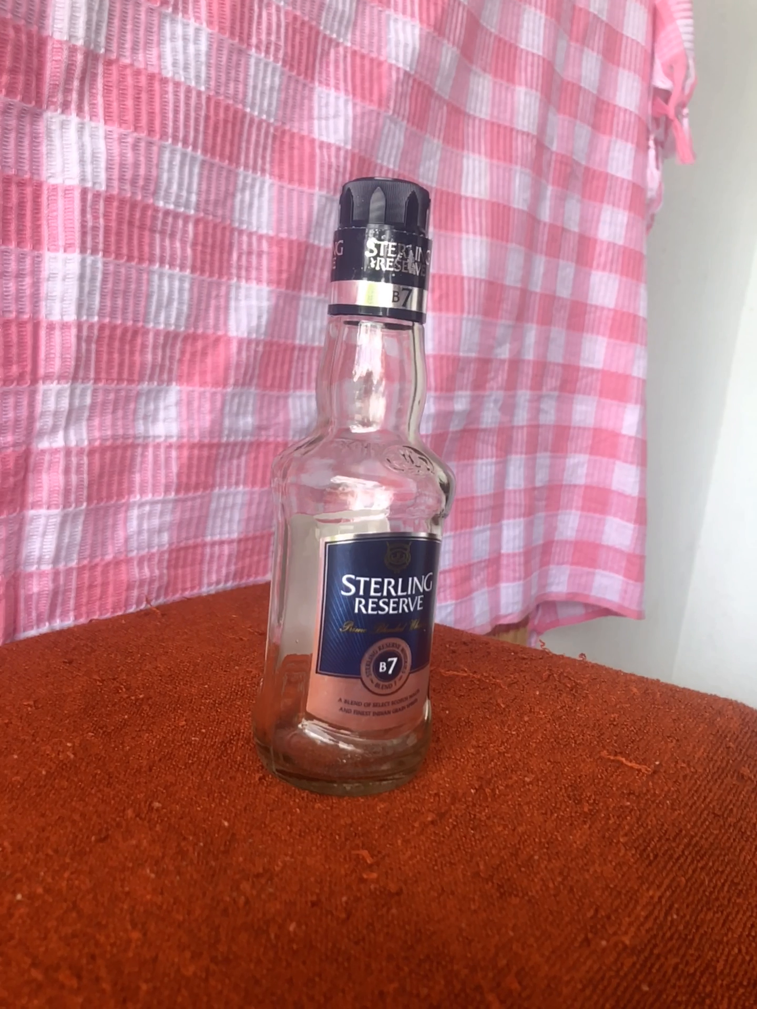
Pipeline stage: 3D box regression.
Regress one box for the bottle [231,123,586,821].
[{"bbox_3d":[0.005,-0.007,0.238,0.060,0.170,0.050,3,10,-30],"label":"bottle"}]
